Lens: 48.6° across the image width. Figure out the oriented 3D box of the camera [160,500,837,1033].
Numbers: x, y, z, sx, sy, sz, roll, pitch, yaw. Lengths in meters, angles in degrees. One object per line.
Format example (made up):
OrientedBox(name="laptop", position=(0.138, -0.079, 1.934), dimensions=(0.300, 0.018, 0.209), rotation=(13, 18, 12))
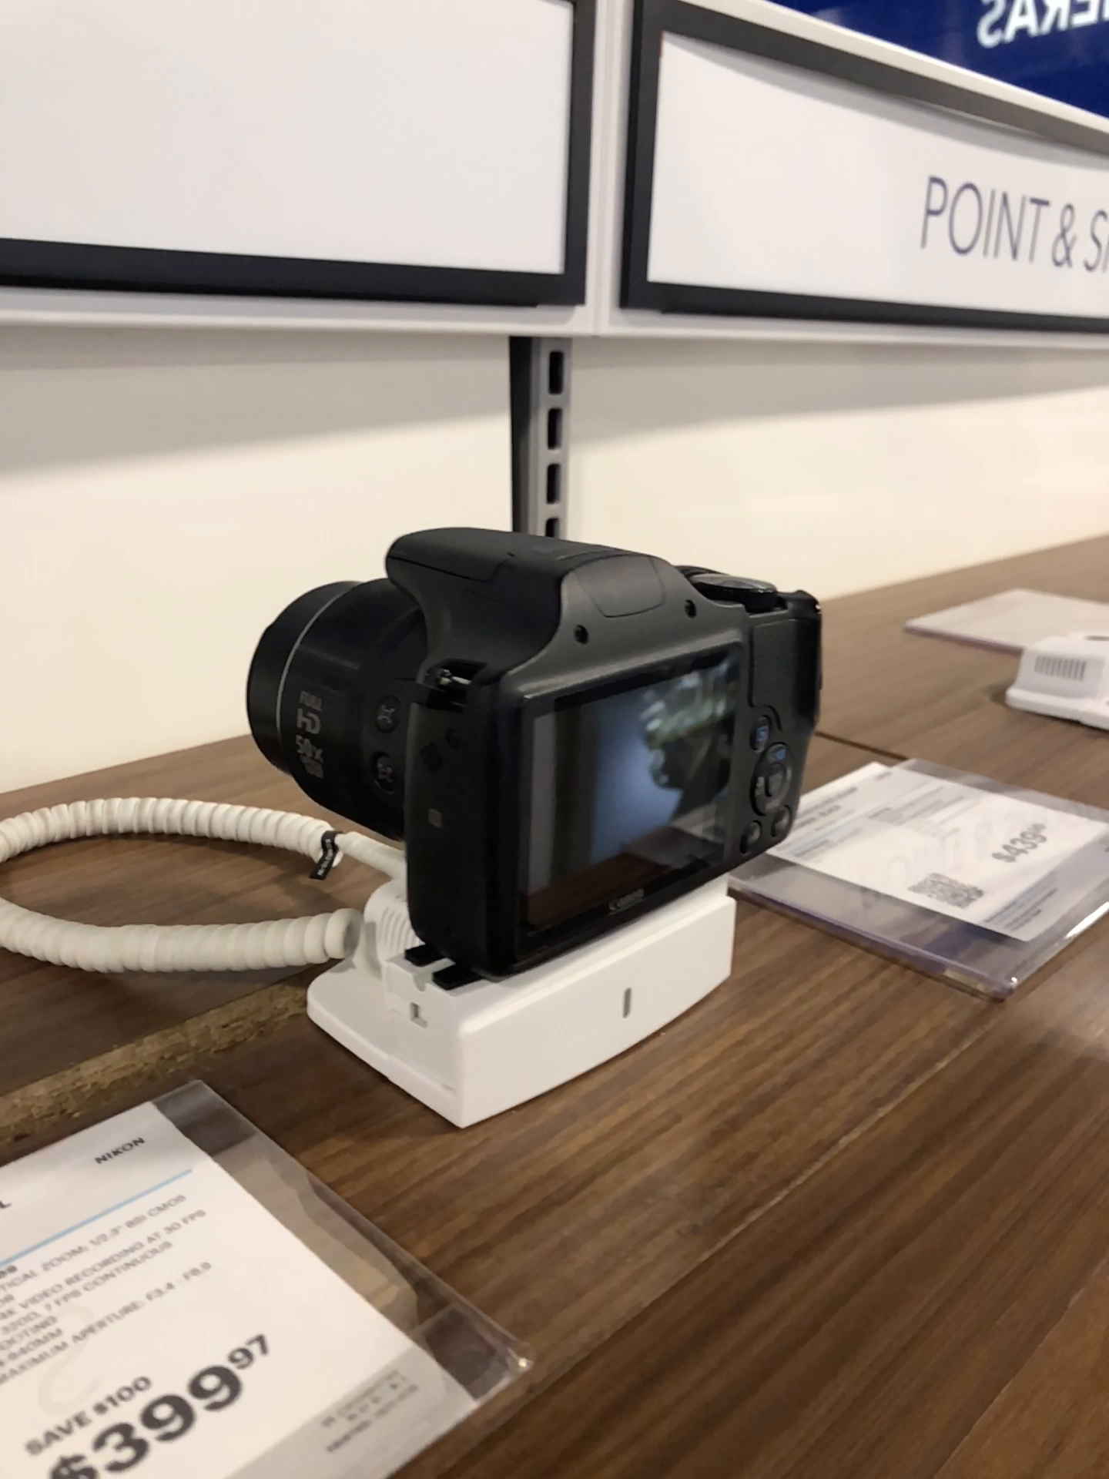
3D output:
OrientedBox(name="camera", position=(-0.010, -0.007, 0.295), dimensions=(0.101, 0.080, 0.120), rotation=(16, 23, 38))
